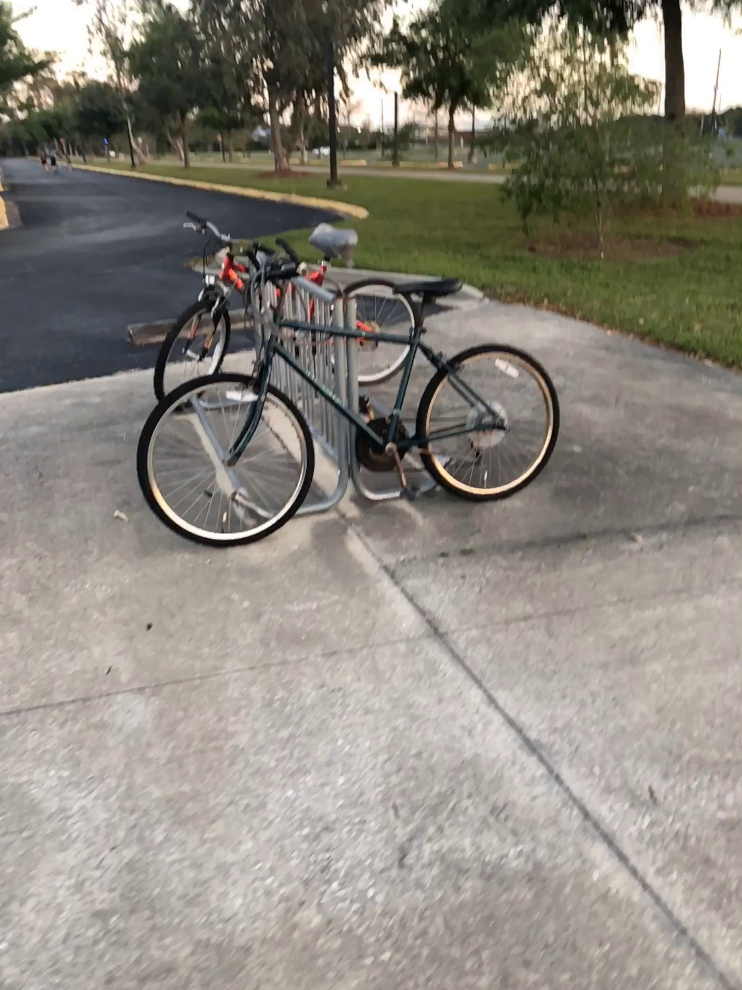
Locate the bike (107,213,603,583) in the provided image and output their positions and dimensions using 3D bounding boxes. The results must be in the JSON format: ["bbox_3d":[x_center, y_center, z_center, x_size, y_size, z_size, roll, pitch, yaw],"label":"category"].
[{"bbox_3d":[-0.037,-0.453,3.159,1.751,1.104,0.586,-10,24,-18],"label":"bike"}]
